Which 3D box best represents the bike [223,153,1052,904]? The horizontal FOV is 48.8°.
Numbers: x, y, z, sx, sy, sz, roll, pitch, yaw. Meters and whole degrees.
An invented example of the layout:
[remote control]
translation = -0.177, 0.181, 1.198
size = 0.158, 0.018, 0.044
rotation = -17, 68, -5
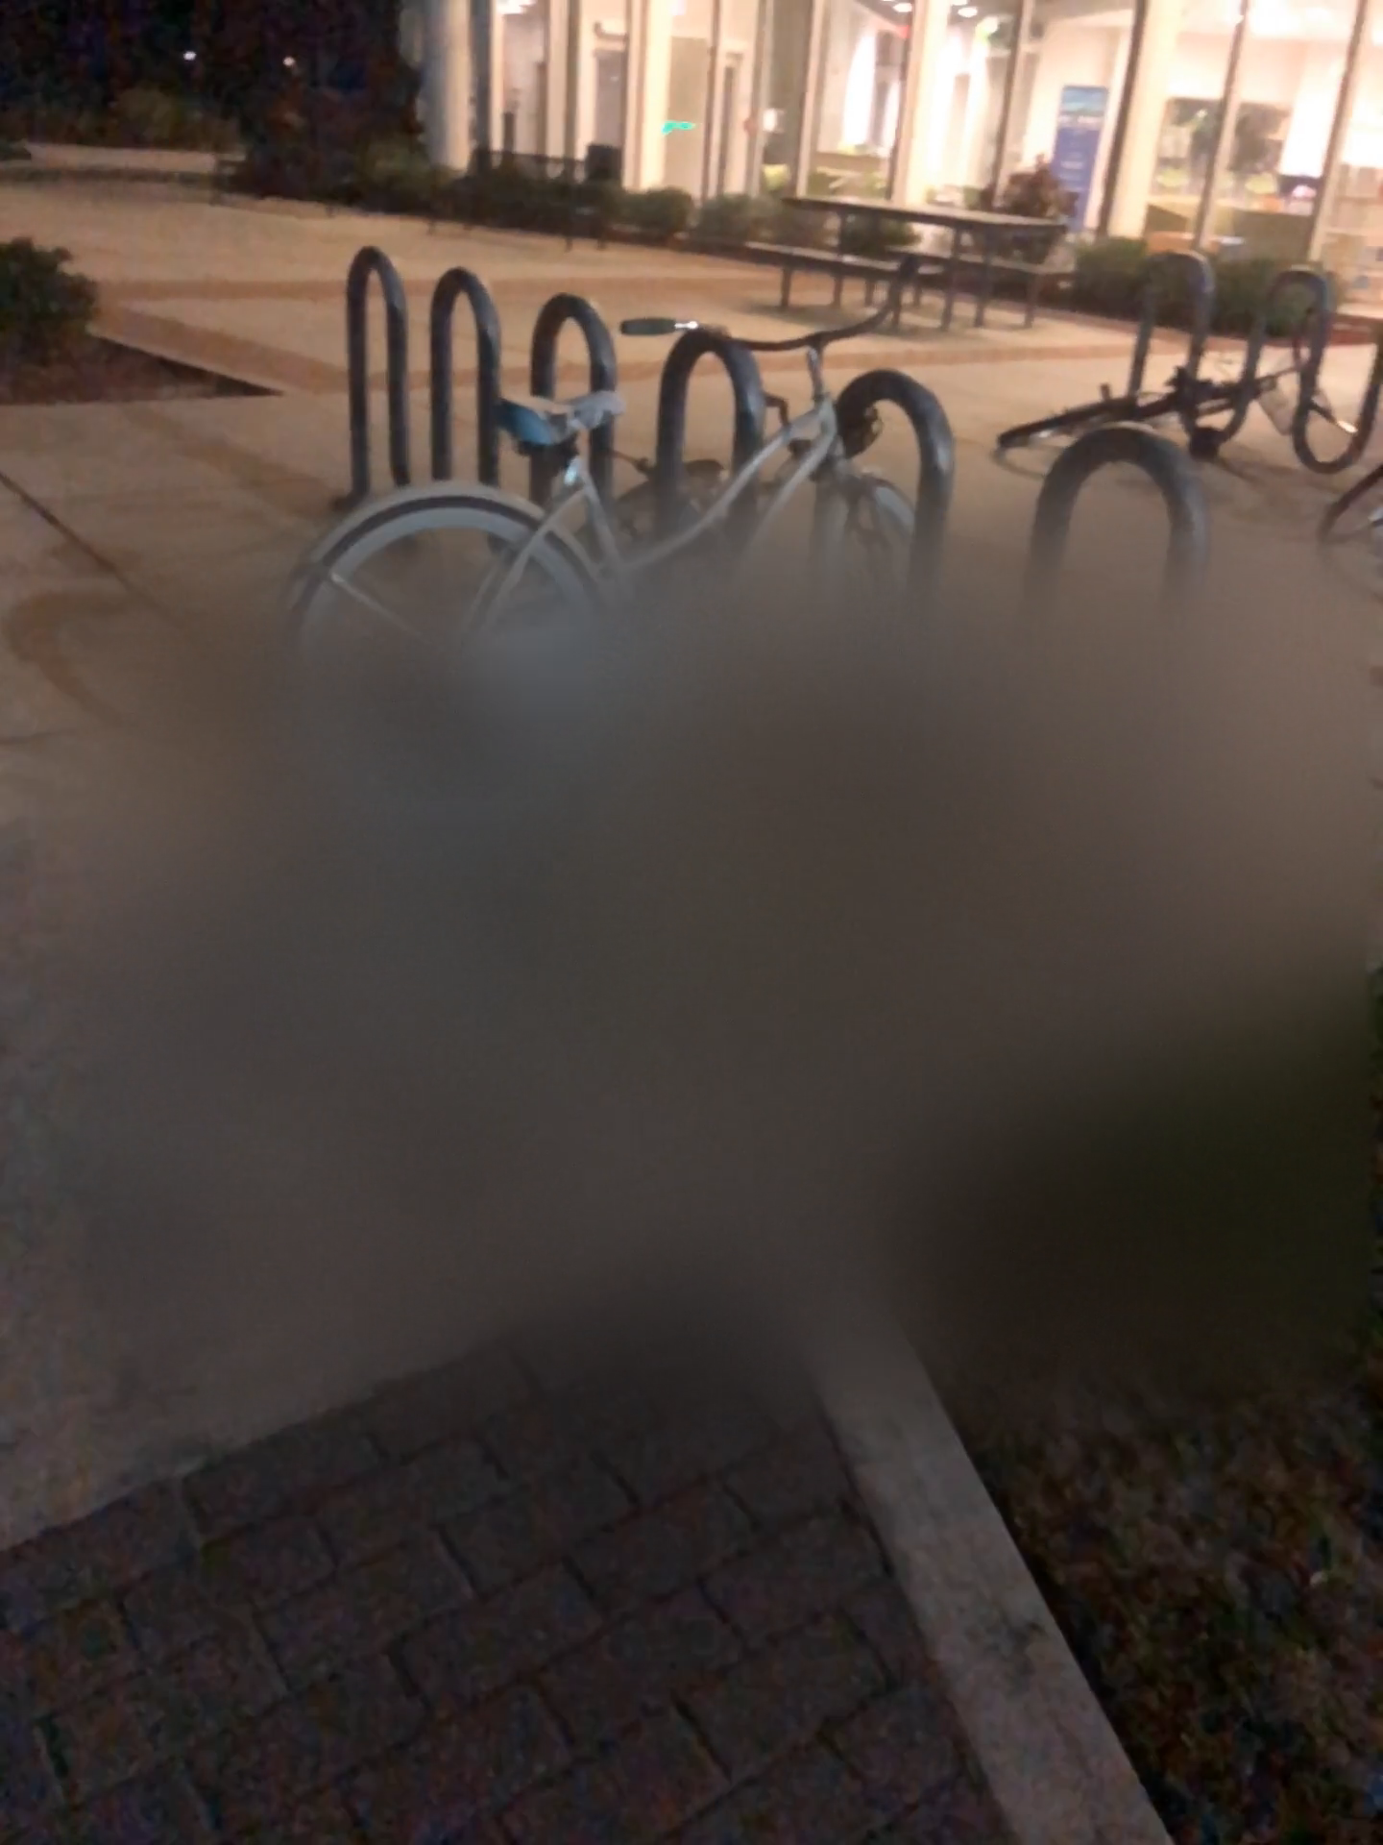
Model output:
[bike]
translation = -0.103, -0.968, 3.257
size = 1.683, 1.094, 0.742
rotation = -20, 35, -32
